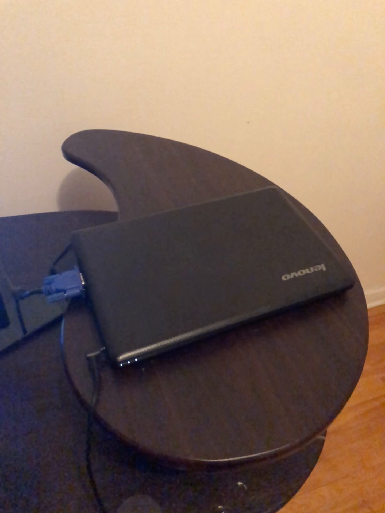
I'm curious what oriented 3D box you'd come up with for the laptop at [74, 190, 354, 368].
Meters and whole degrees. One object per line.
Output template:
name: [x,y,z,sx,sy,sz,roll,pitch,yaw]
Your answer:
laptop: [0.017,0.006,0.470,0.259,0.008,0.173,-16,48,-16]
